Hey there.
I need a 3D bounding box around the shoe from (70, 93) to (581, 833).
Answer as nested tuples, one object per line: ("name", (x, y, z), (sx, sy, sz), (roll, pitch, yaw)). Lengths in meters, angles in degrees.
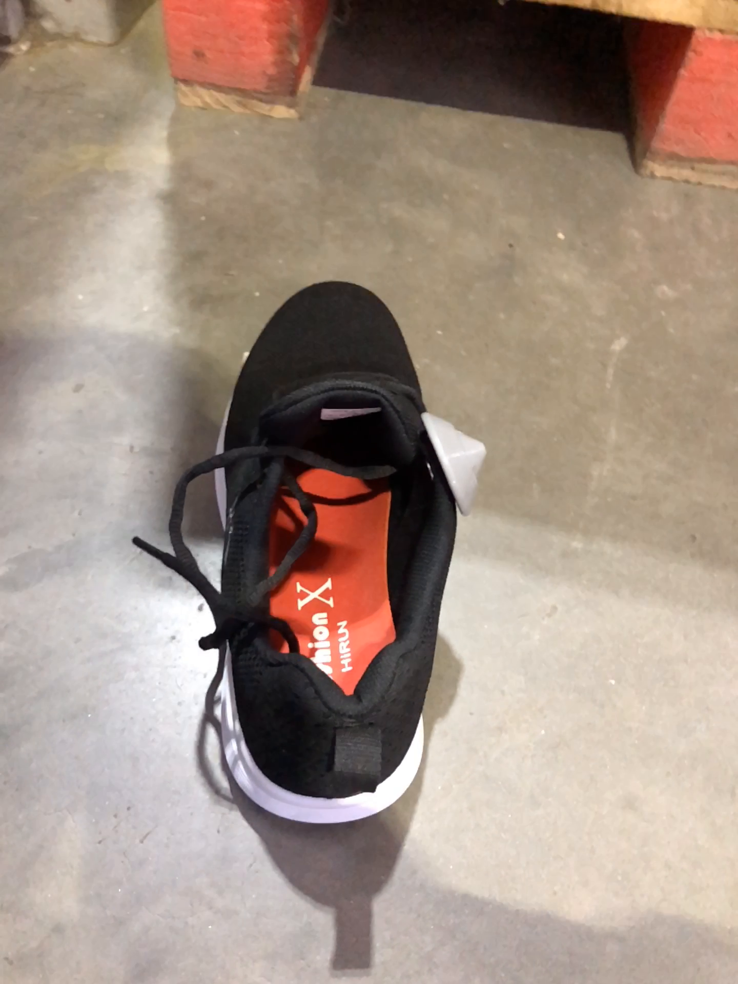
("shoe", (-0.015, -0.023, 0.336), (0.130, 0.119, 0.281), (3, 56, -4))
